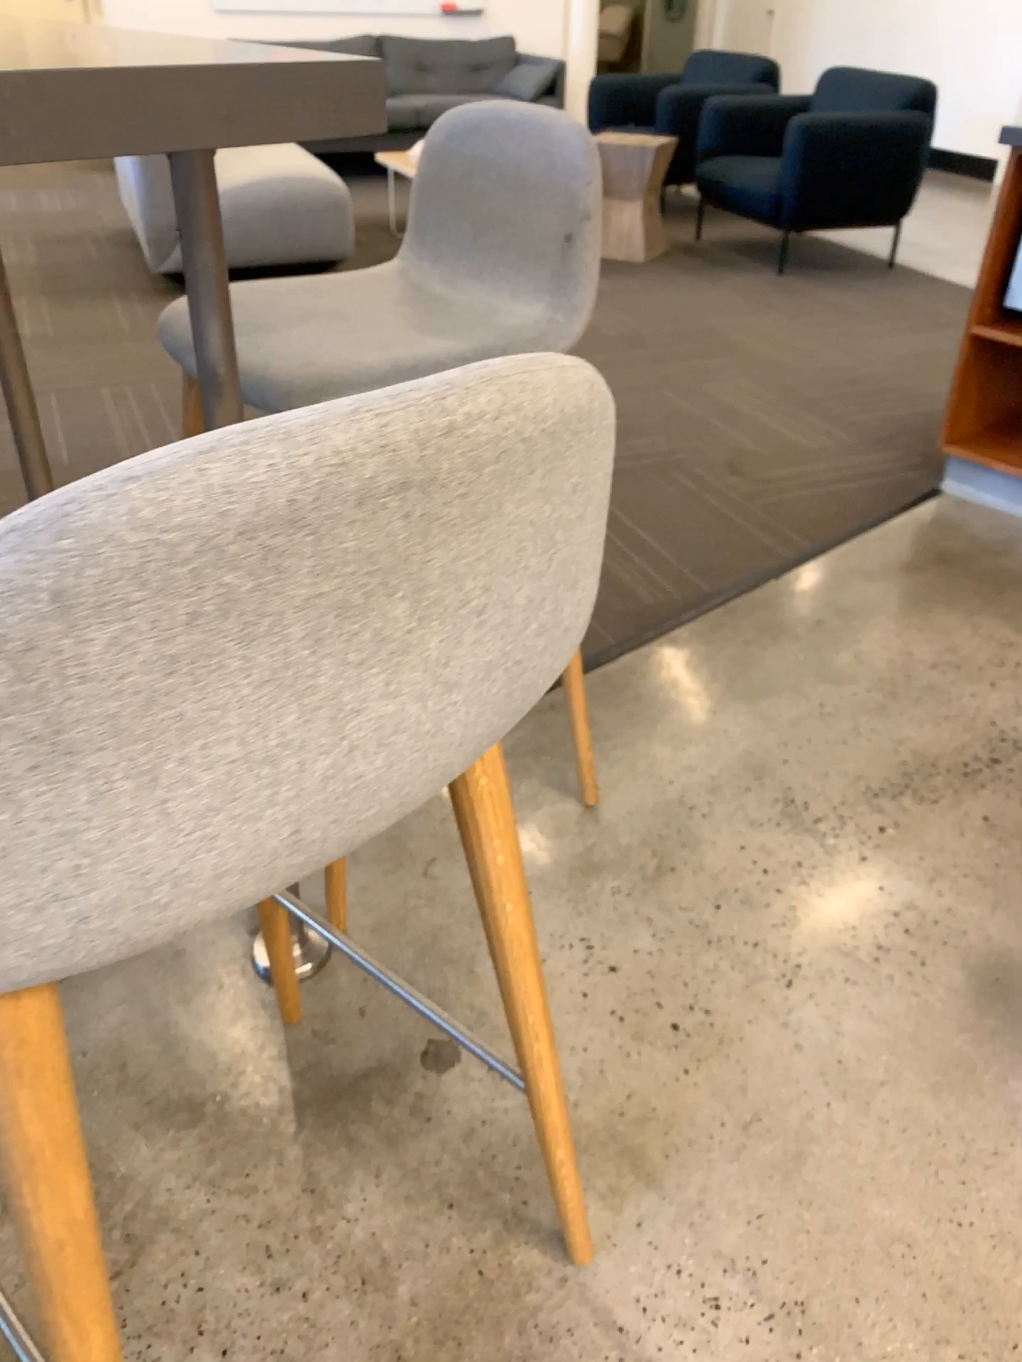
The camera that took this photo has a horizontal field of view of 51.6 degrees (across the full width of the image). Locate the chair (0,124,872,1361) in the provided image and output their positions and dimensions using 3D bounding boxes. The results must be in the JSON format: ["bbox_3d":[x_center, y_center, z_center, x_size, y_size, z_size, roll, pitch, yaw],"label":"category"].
[{"bbox_3d":[-0.218,0.161,0.810,0.542,0.964,0.591,29,42,35],"label":"chair"}]

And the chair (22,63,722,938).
[{"bbox_3d":[-0.211,-0.307,1.527,0.541,0.964,0.713,-22,40,-31],"label":"chair"}]
